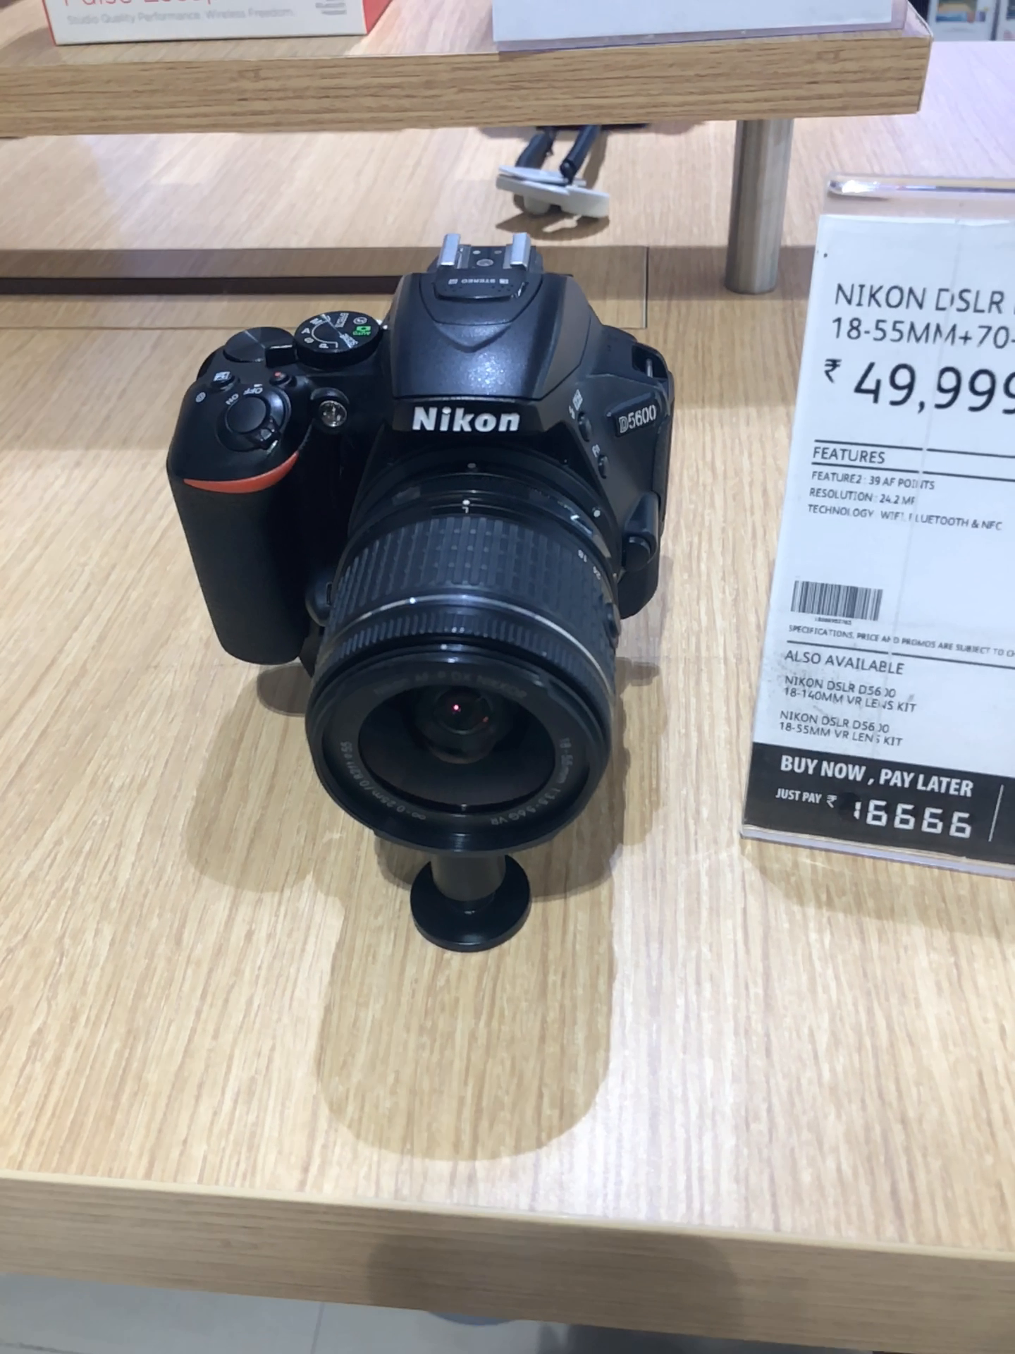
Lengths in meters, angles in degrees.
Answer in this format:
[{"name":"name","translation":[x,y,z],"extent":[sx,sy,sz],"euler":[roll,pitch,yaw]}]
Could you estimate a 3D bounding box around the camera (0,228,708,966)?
[{"name":"camera","translation":[-0.024,-0.030,0.277],"extent":[0.130,0.099,0.161],"euler":[1,42,5]}]
